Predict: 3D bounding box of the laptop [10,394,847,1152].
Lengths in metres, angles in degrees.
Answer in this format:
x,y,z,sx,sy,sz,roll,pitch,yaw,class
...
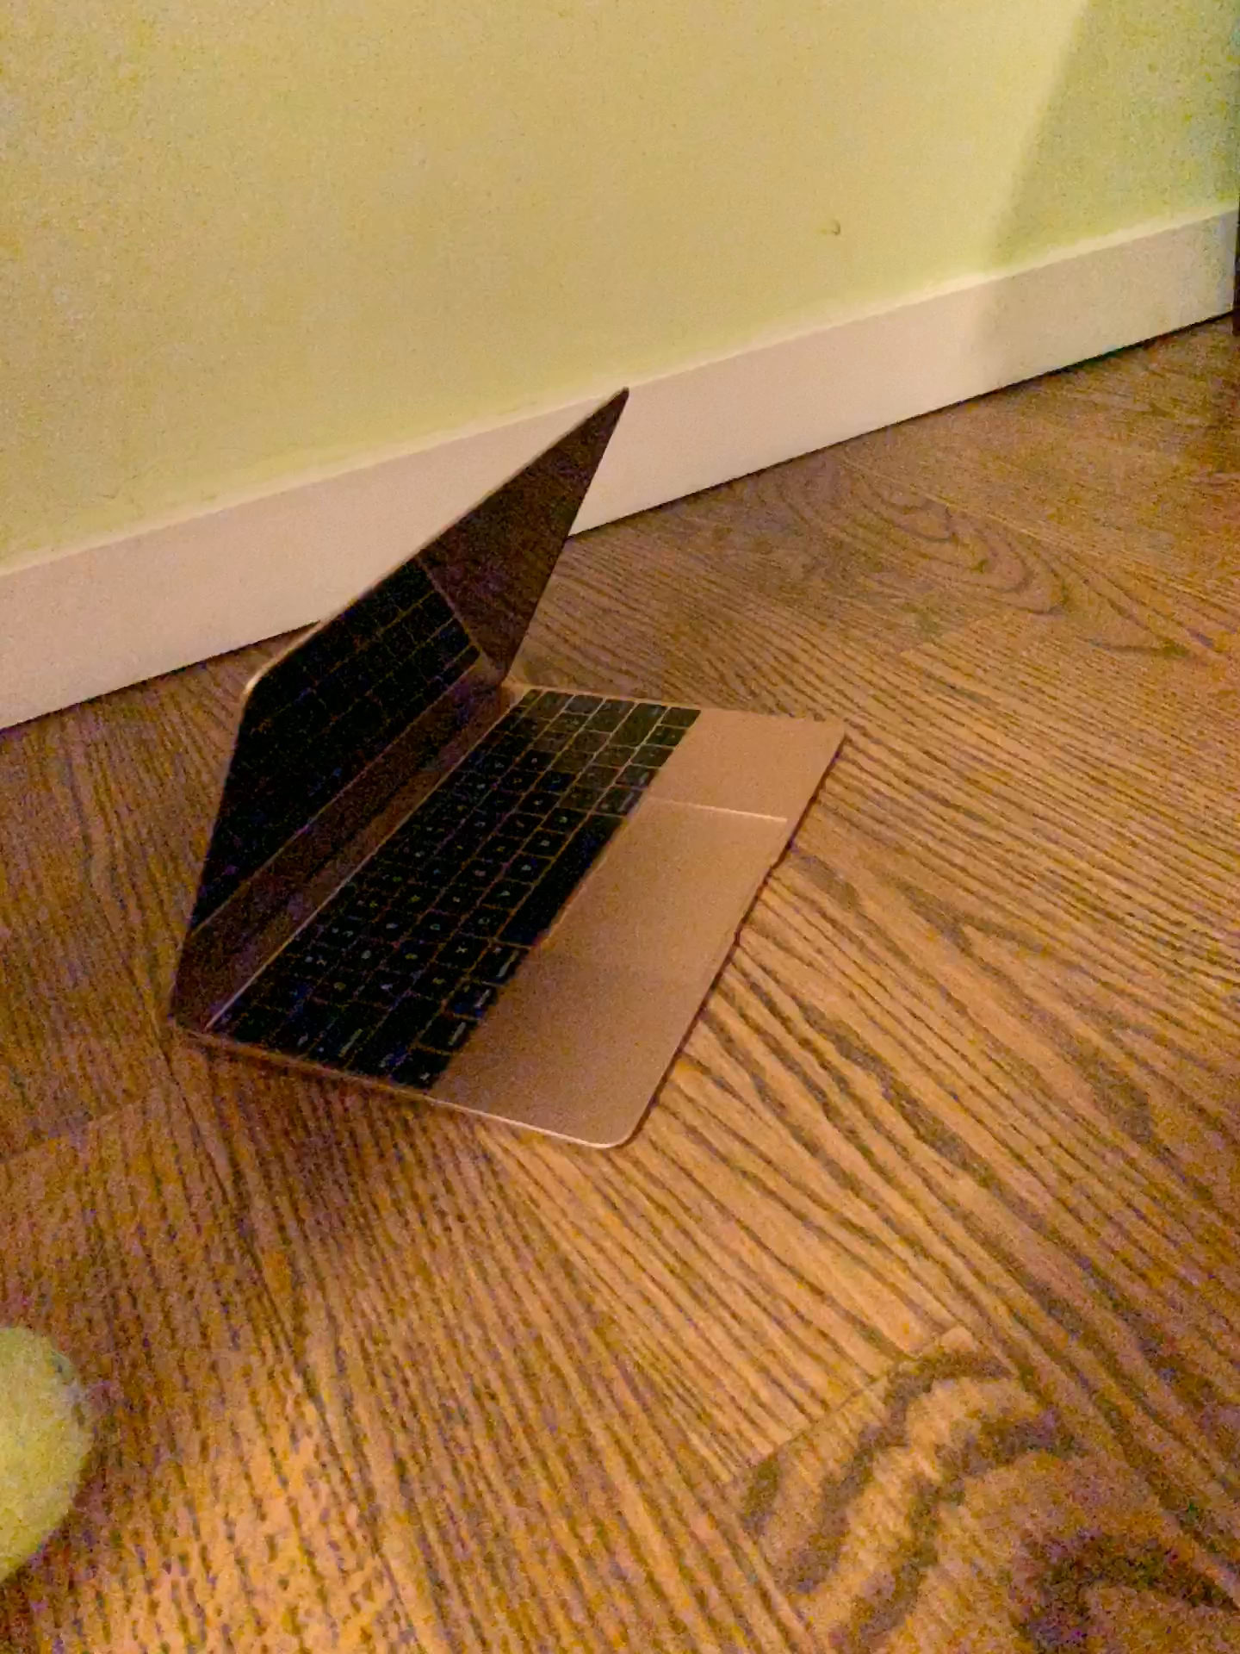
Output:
x,y,z,sx,sy,sz,roll,pitch,yaw,class
-0.044,-0.052,0.536,0.206,0.168,0.289,8,38,23,laptop
